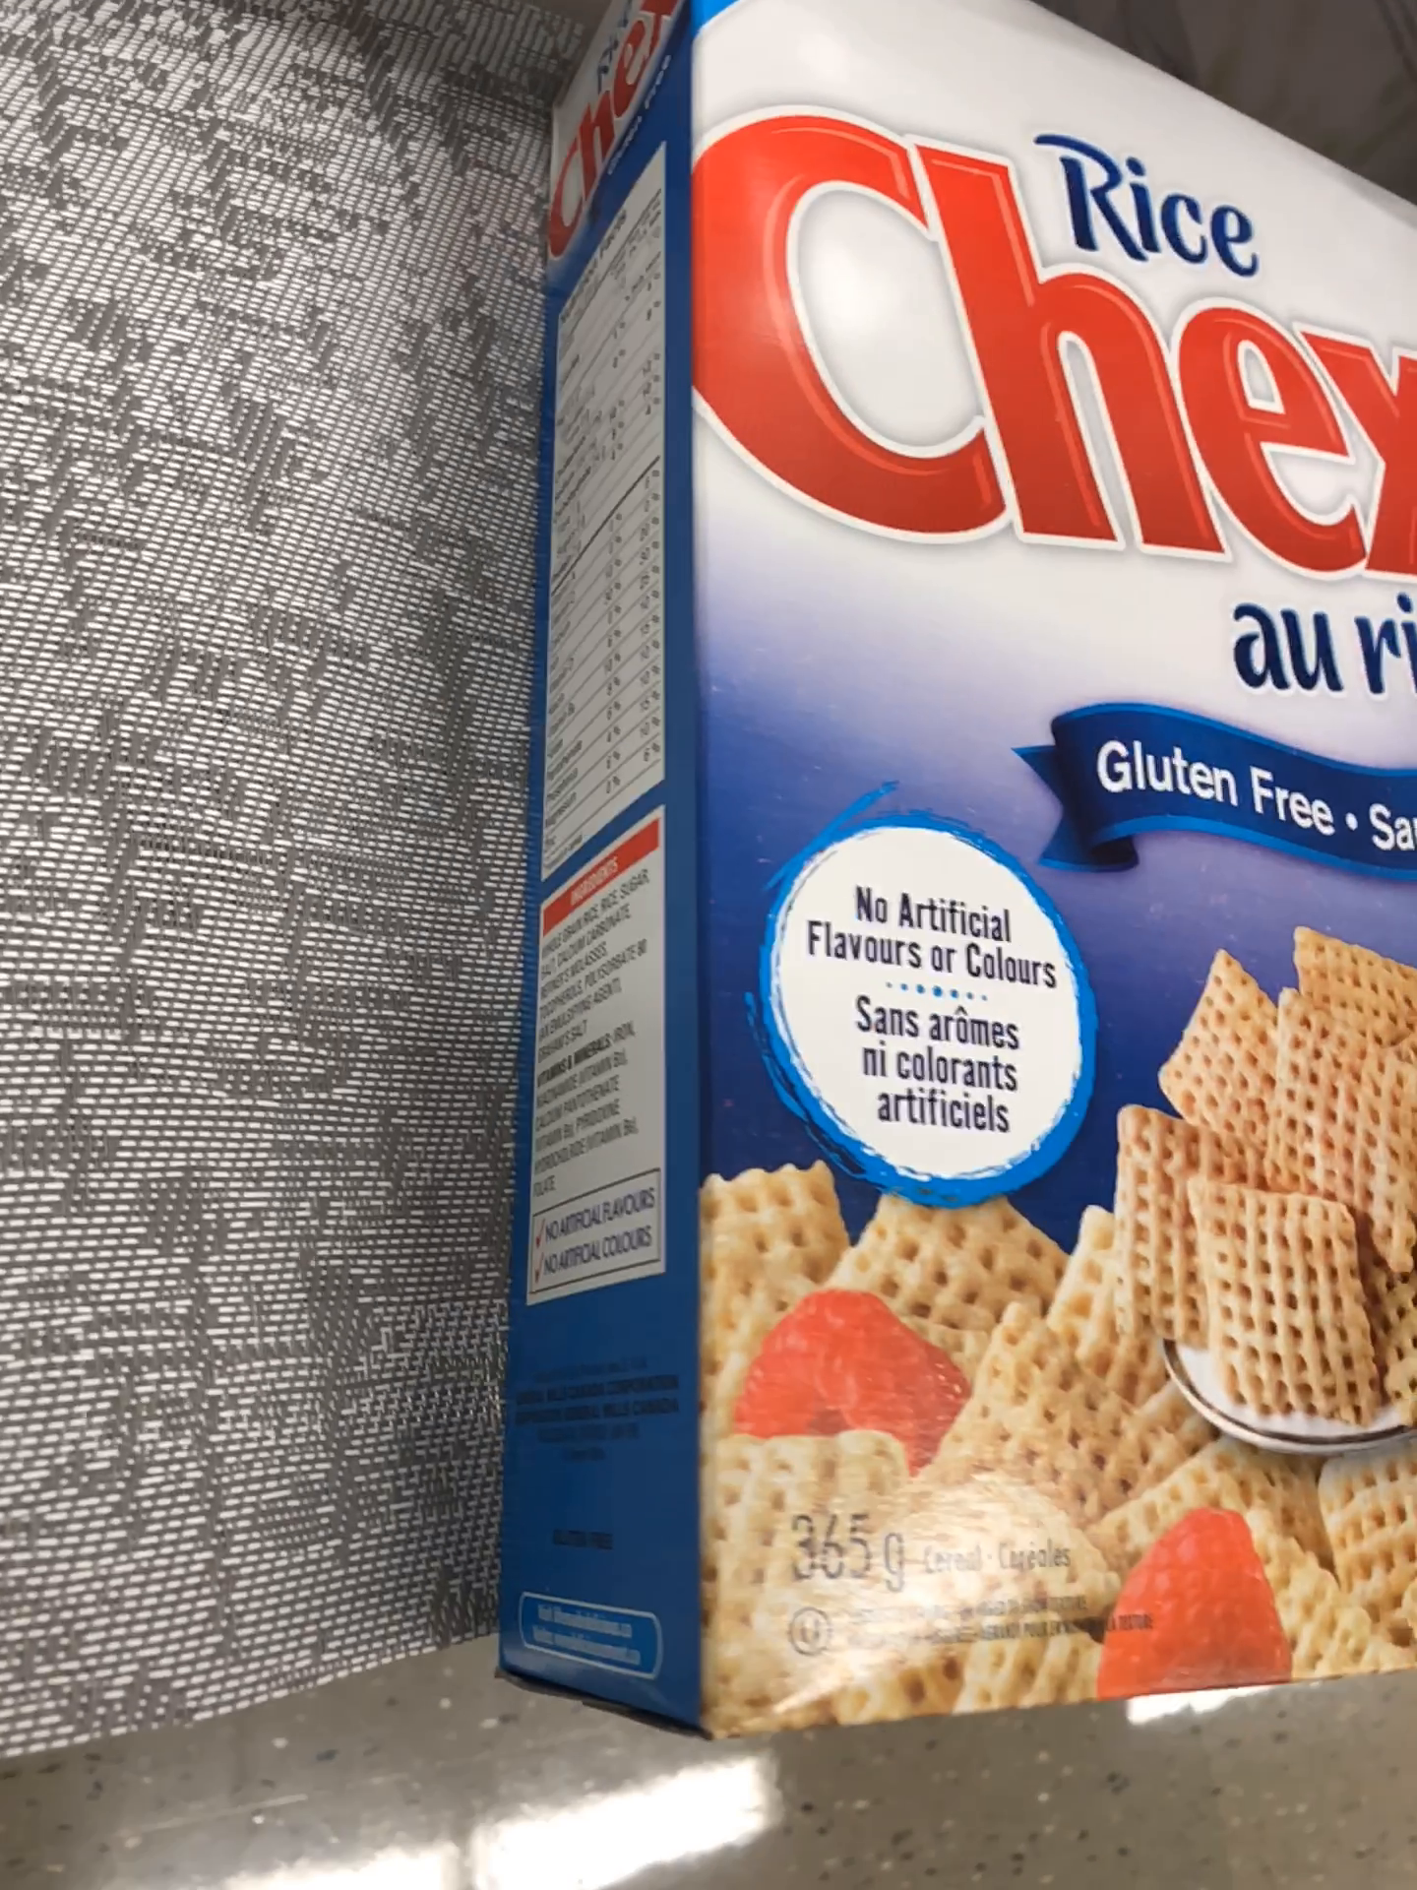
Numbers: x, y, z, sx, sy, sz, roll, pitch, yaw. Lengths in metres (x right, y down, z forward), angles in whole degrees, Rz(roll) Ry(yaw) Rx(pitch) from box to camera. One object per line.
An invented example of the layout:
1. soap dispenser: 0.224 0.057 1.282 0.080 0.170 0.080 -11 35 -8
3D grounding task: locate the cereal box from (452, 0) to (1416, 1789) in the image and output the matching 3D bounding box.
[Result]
1. cereal box: 0.070 -0.027 0.295 0.211 0.070 0.300 10 68 -29
